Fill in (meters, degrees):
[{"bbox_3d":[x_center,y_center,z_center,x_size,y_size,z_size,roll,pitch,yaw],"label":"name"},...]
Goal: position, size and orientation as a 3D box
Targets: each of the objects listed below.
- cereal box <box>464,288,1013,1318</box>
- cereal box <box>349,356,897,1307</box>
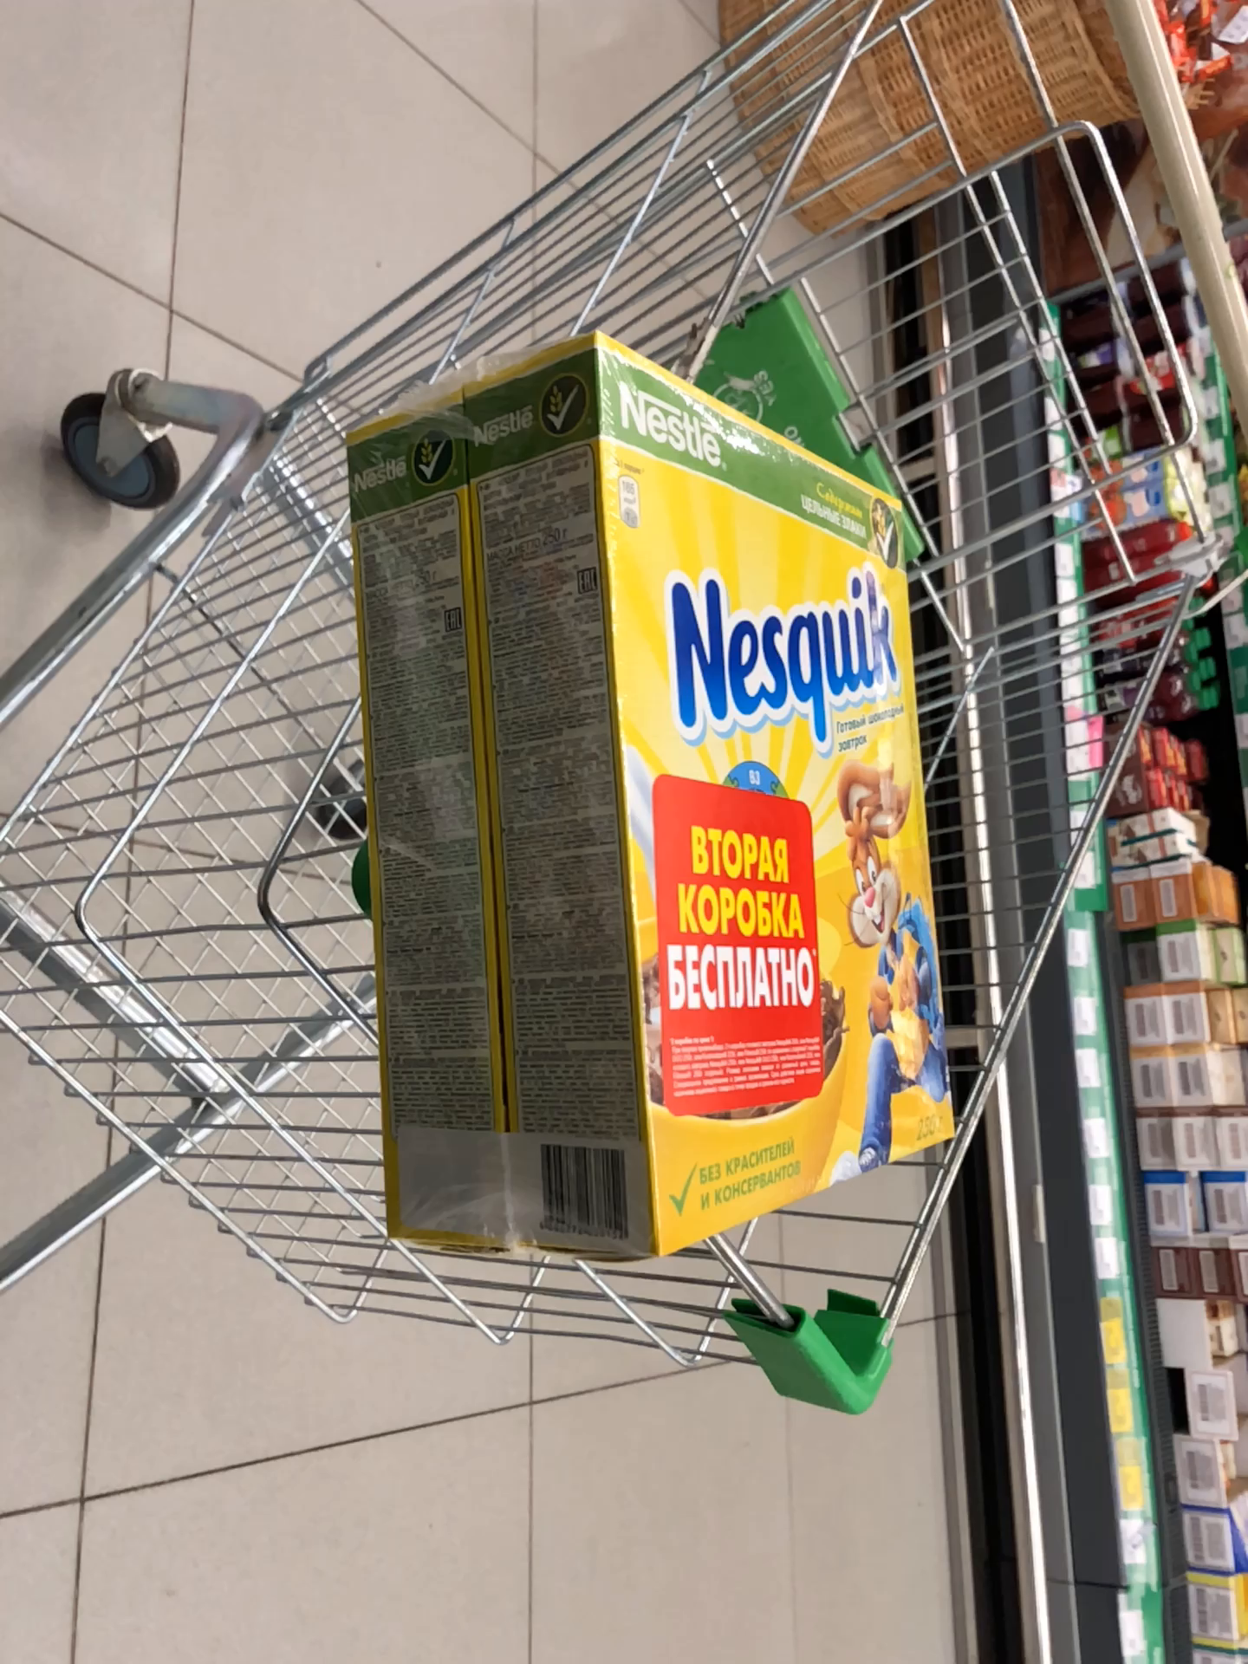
[{"bbox_3d":[0.048,-0.005,0.419,0.211,0.050,0.240,3,81,-56],"label":"cereal box"},{"bbox_3d":[0.012,0.002,0.446,0.211,0.050,0.240,3,81,-56],"label":"cereal box"}]
